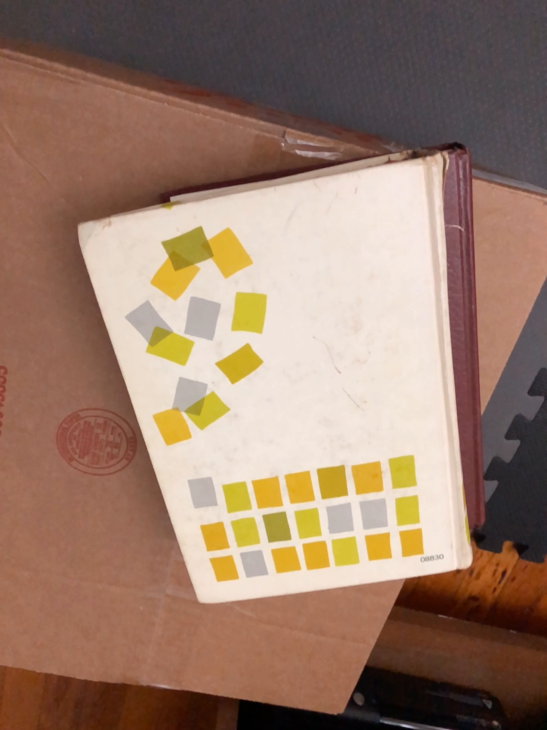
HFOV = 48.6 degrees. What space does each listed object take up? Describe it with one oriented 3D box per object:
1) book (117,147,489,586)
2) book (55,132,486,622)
[{"bbox_3d":[0.030,0.016,0.364,0.180,0.040,0.250,-8,116,2],"label":"book"},{"bbox_3d":[0.016,0.024,0.332,0.180,0.040,0.250,-10,116,3],"label":"book"}]
